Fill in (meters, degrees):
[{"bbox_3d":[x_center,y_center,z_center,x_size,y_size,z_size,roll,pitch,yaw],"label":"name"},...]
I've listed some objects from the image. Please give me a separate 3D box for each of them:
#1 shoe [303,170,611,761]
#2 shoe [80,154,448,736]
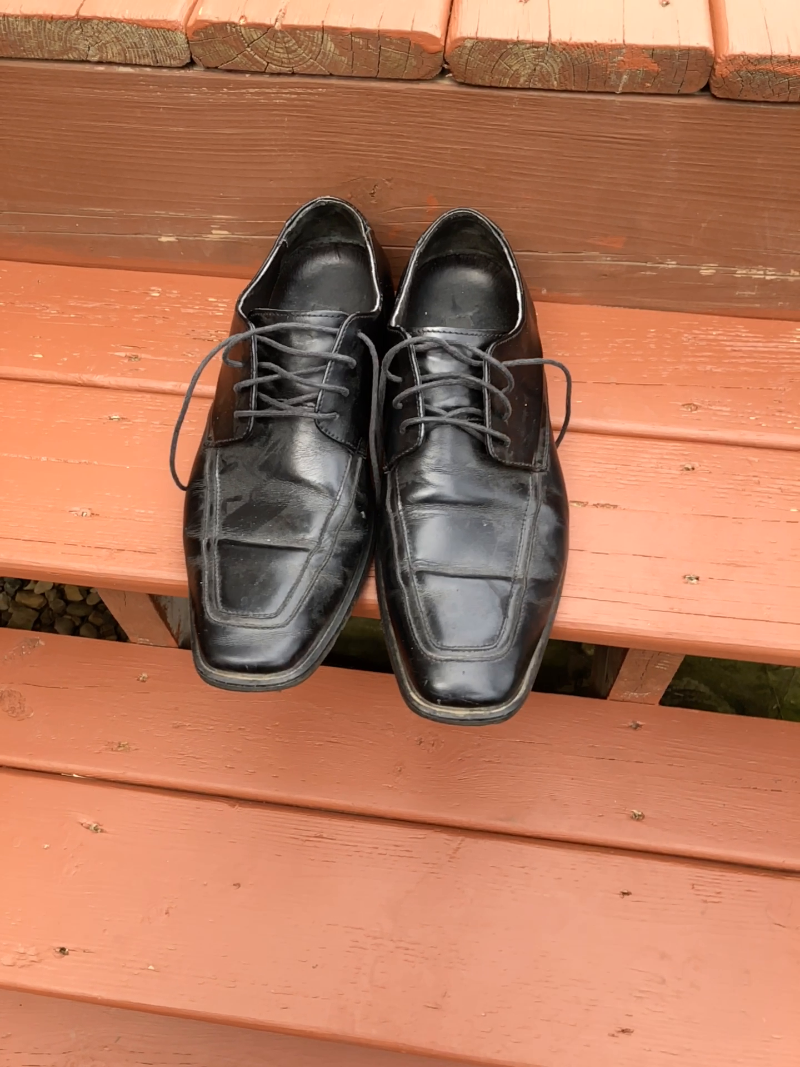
[{"bbox_3d":[0.036,-0.053,0.506,0.130,0.110,0.330,2,59,3],"label":"shoe"},{"bbox_3d":[-0.055,-0.066,0.520,0.130,0.110,0.330,6,59,5],"label":"shoe"}]
